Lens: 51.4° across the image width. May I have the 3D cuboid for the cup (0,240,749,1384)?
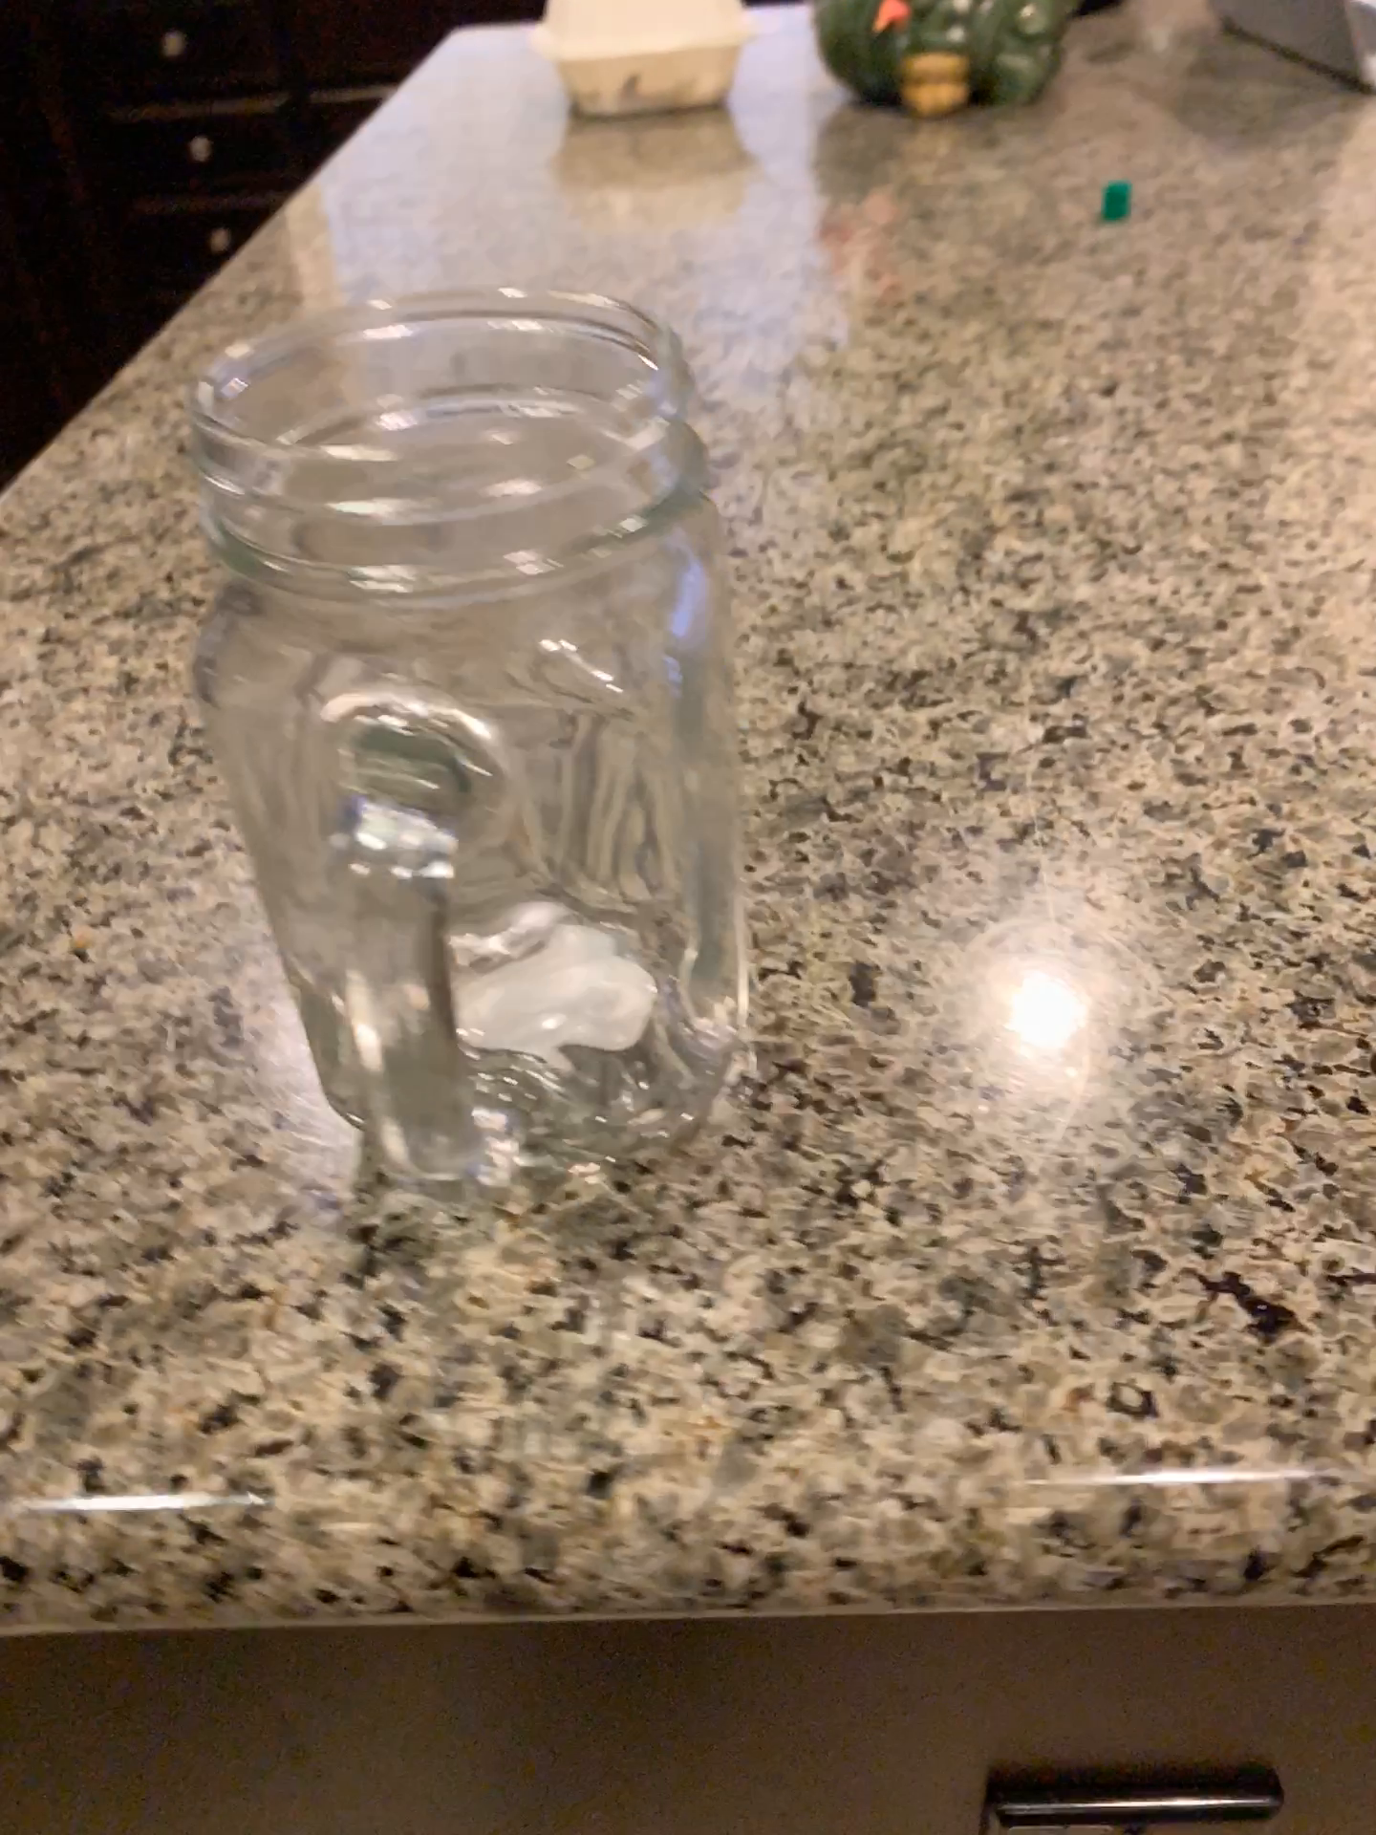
[{"bbox_3d":[-0.035,-0.019,0.213,0.080,0.119,0.121,-1,39,5],"label":"cup"}]
